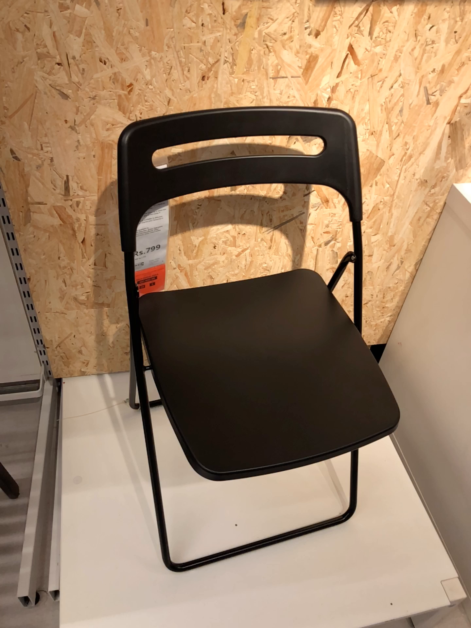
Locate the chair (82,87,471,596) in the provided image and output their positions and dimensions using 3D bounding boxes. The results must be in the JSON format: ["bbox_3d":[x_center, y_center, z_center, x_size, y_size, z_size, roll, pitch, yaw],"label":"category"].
[{"bbox_3d":[0.036,0.061,0.968,0.490,0.735,0.523,-9,46,-15],"label":"chair"}]
